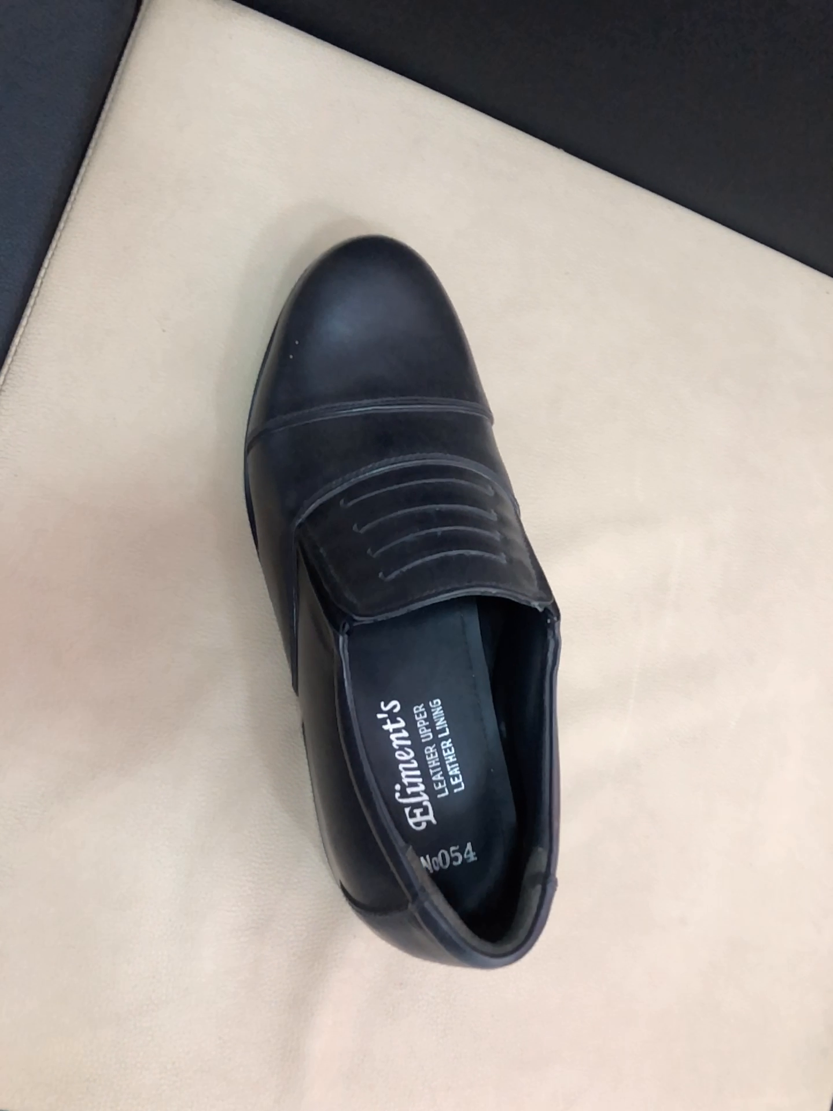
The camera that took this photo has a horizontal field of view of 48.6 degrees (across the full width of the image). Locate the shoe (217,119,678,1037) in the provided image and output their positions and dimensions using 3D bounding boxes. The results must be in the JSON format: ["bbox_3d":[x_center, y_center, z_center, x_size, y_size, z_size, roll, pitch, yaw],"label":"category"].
[{"bbox_3d":[0.000,0.002,0.341,0.100,0.120,0.270,-8,89,-16],"label":"shoe"}]
